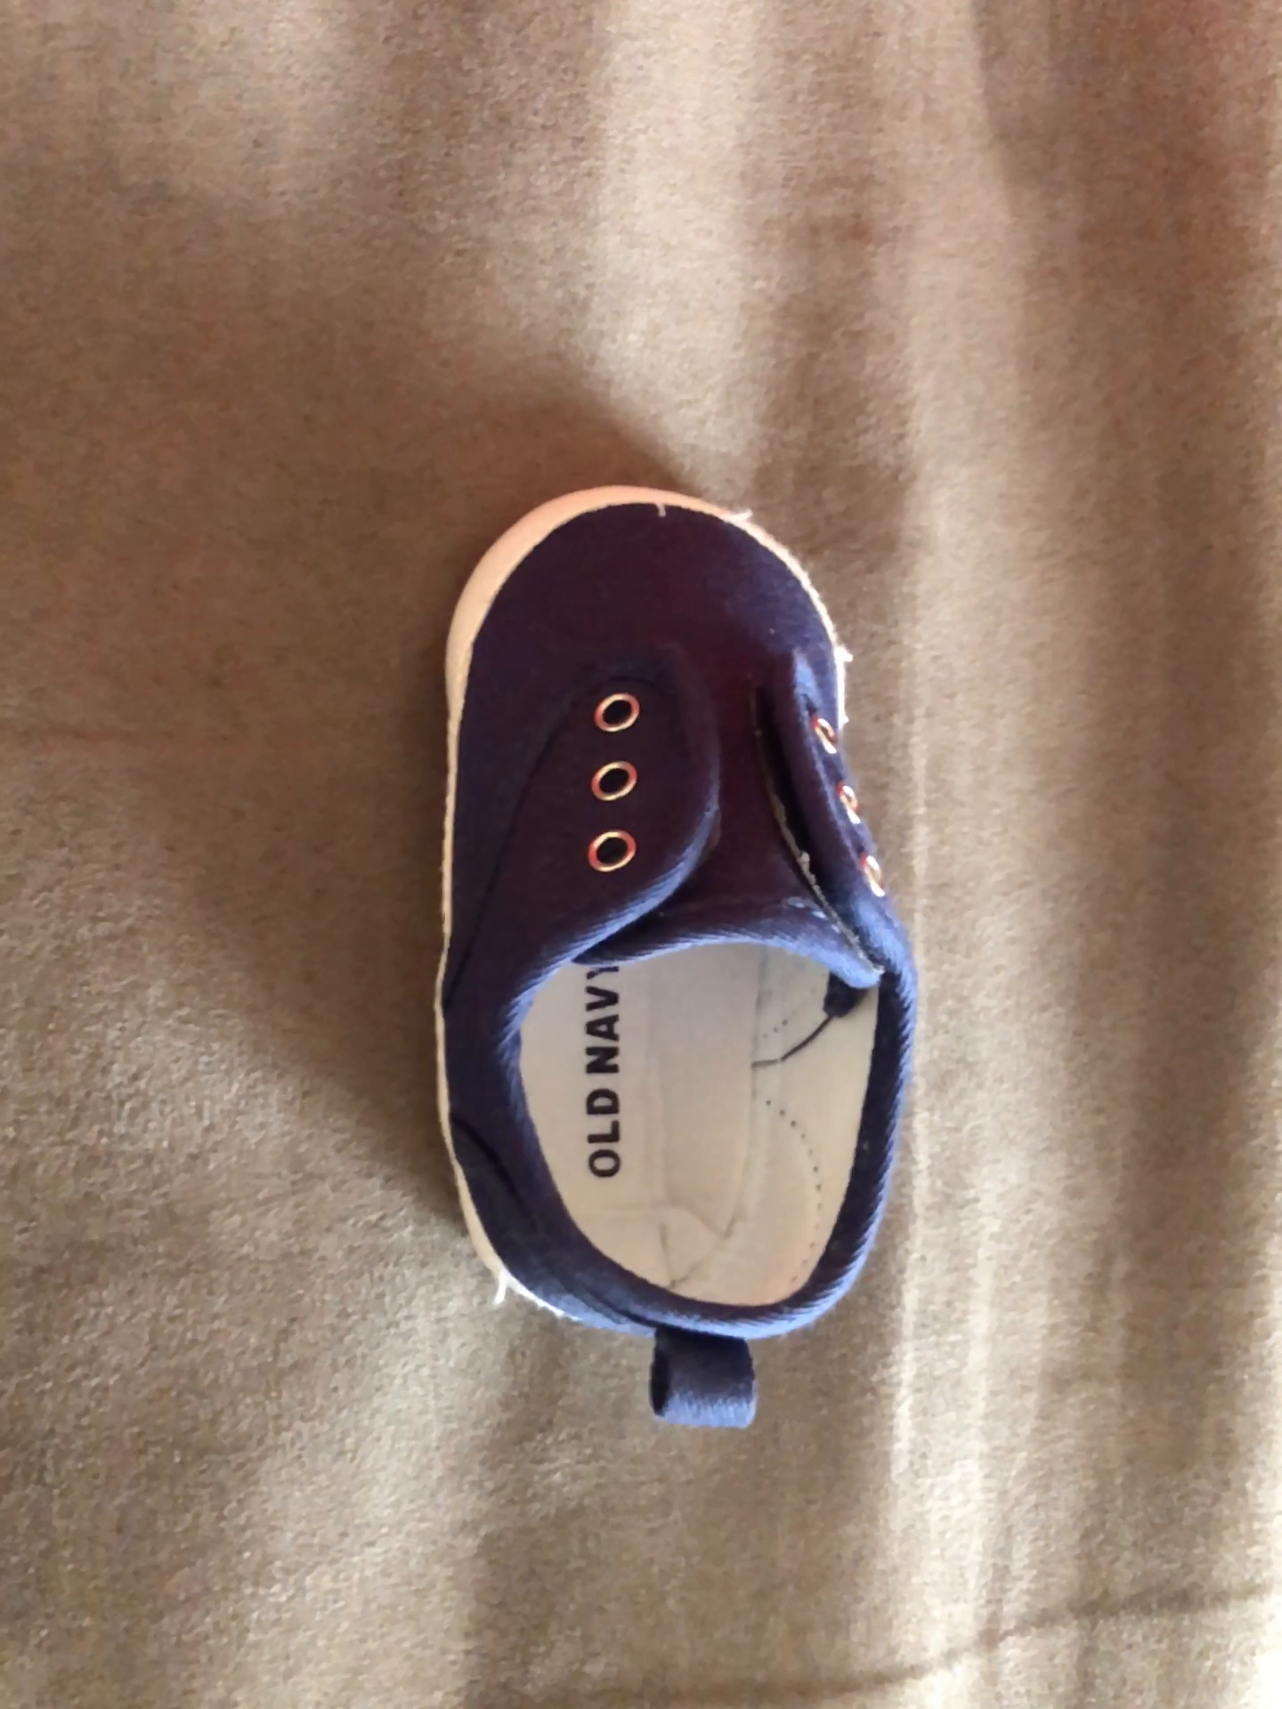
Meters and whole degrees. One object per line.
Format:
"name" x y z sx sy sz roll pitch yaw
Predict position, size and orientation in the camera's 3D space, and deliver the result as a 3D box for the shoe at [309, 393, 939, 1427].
"shoe" -0.007 0.008 0.190 0.060 0.060 0.110 5 90 -16
